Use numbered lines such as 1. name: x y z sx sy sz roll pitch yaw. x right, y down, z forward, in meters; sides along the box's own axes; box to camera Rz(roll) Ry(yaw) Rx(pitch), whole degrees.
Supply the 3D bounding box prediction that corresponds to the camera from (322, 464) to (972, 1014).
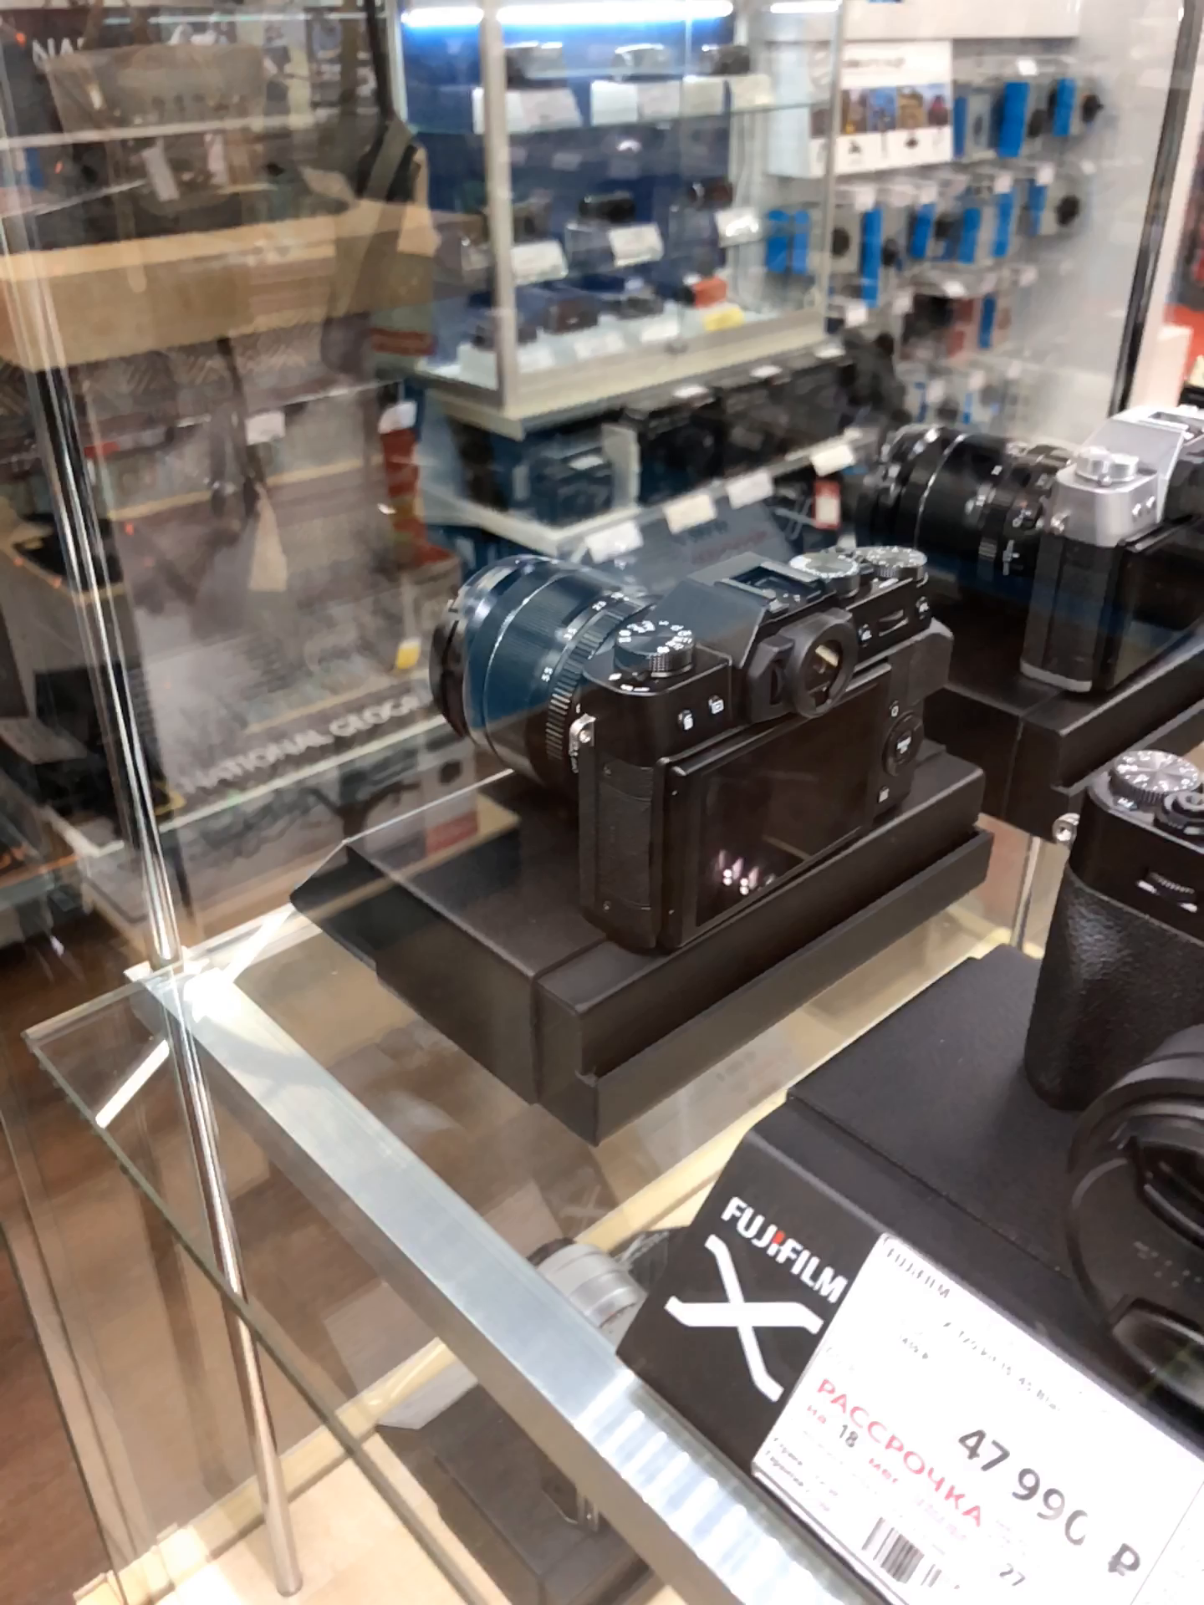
1. camera: 0.011 -0.029 0.371 0.121 0.081 0.121 -25 39 -36
